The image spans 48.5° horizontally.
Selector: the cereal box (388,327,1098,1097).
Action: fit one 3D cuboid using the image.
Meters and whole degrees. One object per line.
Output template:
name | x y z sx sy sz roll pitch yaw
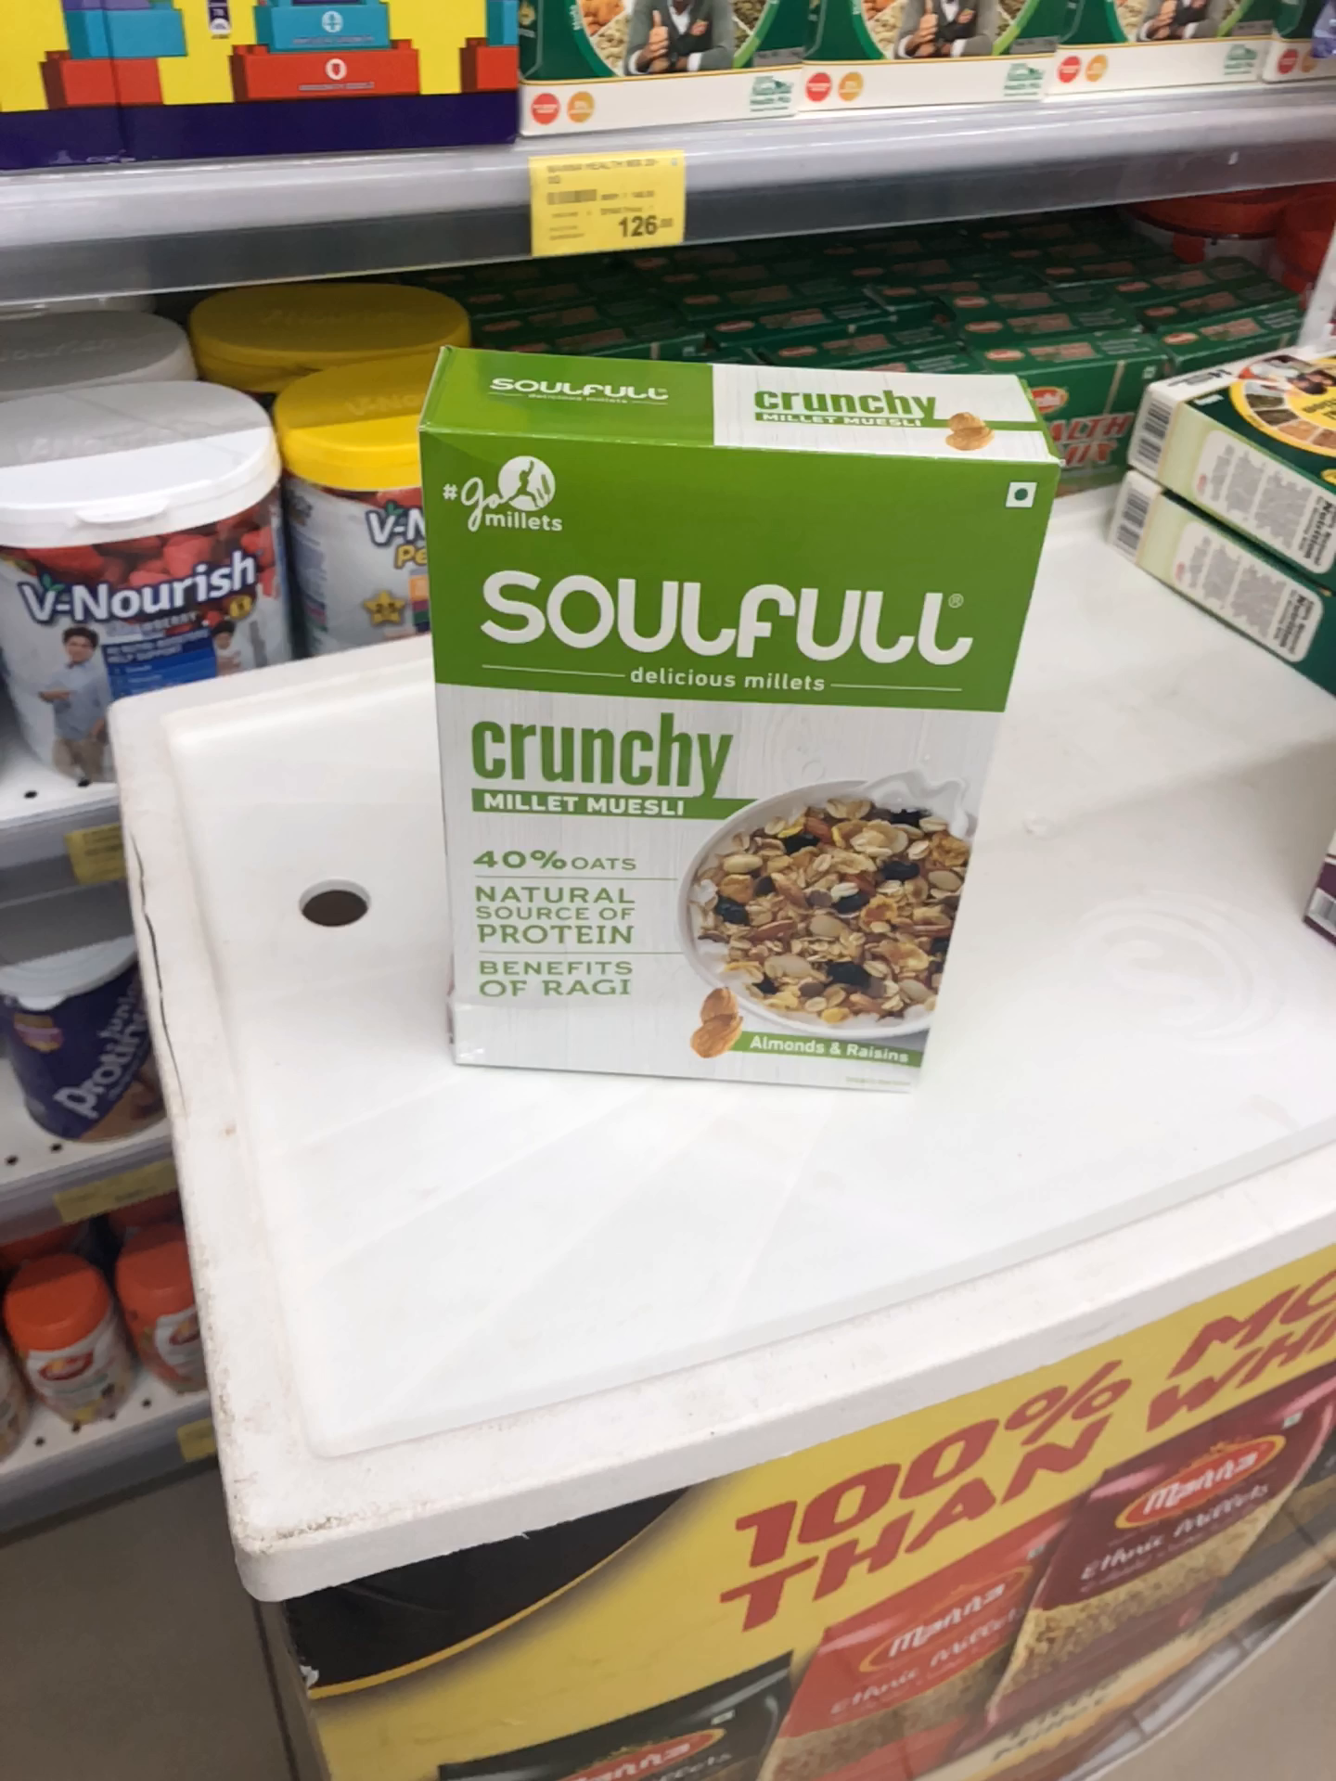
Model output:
cereal box | 0.017 -0.043 0.486 0.180 0.249 0.070 3 43 1
